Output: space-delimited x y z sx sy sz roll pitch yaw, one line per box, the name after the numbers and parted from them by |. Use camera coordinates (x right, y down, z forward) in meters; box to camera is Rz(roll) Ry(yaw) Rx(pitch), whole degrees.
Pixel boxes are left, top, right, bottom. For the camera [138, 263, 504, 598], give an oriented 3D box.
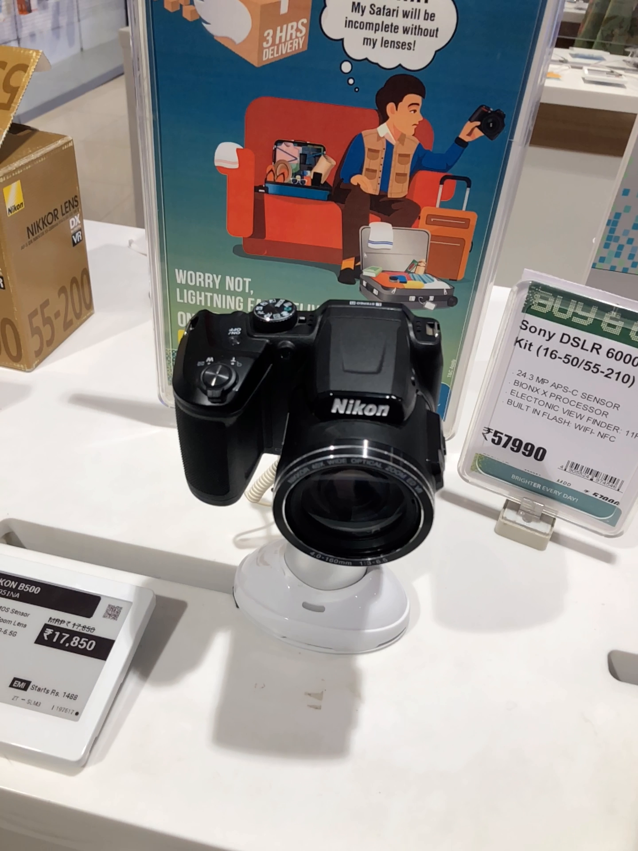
0.001 -0.003 0.276 0.110 0.070 0.111 5 37 -1 | camera
